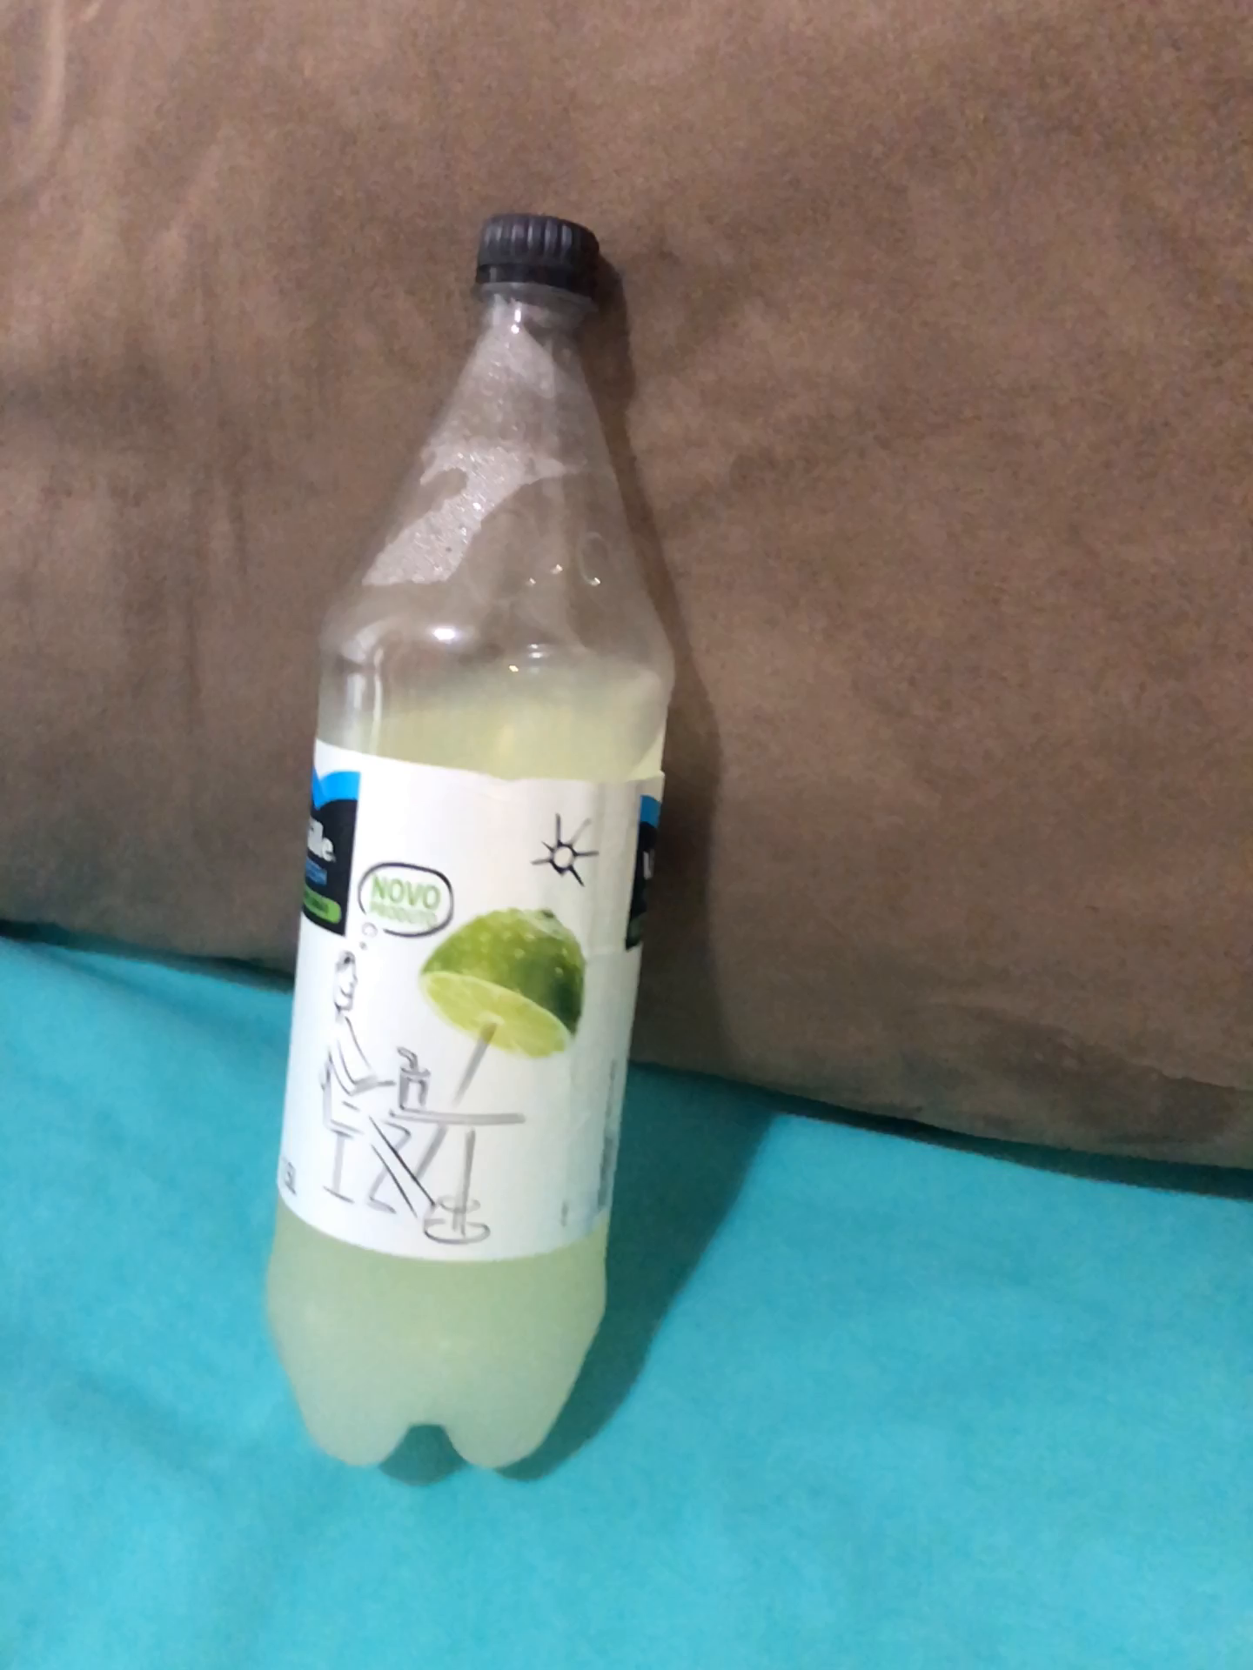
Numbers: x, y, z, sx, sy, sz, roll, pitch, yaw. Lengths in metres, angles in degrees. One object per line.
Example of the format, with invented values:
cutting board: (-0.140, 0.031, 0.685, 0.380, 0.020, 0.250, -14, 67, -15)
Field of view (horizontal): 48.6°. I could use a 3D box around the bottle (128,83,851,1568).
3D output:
bottle: (-0.029, -0.008, 0.370, 0.100, 0.330, 0.100, 10, -2, 0)
